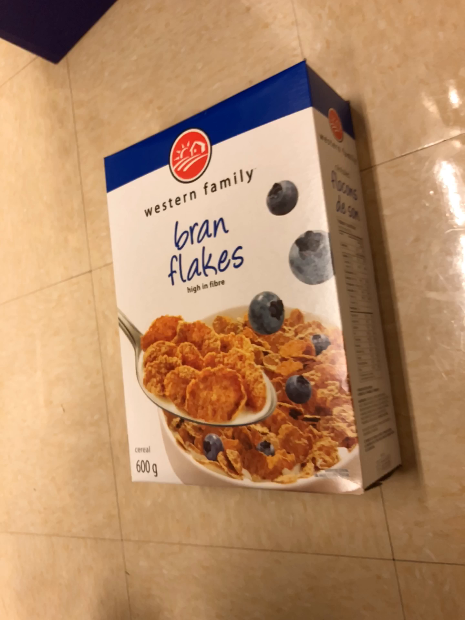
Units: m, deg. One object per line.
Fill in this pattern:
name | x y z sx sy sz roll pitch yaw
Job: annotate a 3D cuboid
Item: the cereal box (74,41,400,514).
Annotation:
cereal box | -0.010 -0.010 0.419 0.221 0.090 0.300 -11 83 35
